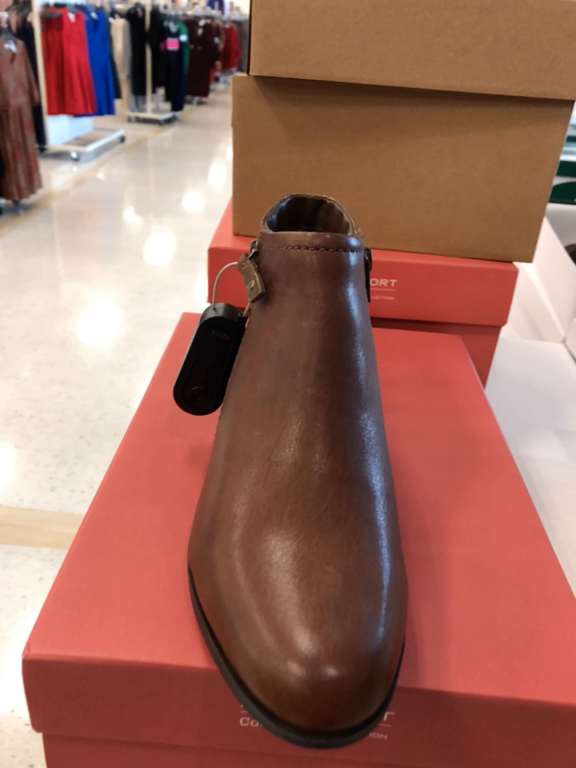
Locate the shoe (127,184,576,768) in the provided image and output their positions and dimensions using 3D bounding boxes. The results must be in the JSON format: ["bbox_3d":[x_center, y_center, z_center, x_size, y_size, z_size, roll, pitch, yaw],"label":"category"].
[{"bbox_3d":[0.008,0.005,0.291,0.101,0.119,0.282,4,29,-3],"label":"shoe"}]
